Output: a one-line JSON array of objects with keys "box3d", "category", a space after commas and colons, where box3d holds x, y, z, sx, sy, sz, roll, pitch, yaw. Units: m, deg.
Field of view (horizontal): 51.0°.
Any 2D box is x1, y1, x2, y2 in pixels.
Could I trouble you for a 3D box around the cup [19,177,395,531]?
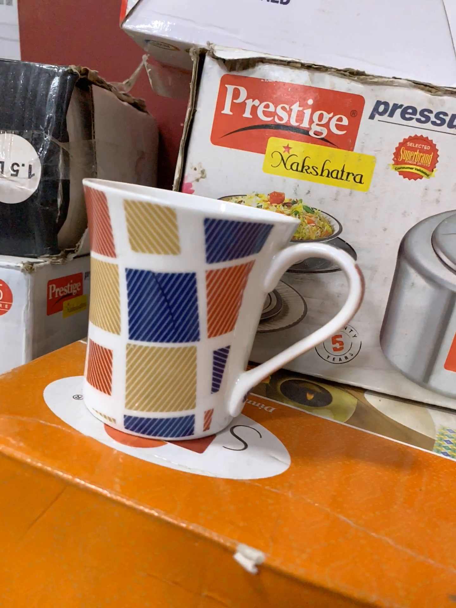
[{"box3d": [-0.007, 0.009, 0.176, 0.100, 0.090, 0.070, 12, 15, 6], "category": "cup"}]
